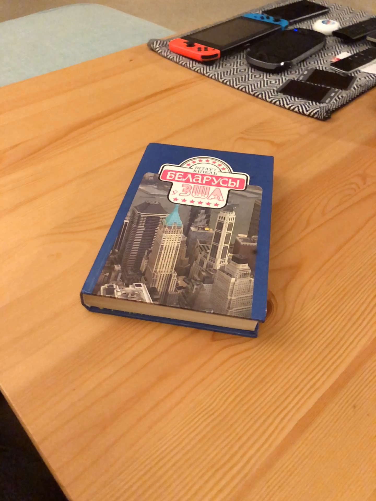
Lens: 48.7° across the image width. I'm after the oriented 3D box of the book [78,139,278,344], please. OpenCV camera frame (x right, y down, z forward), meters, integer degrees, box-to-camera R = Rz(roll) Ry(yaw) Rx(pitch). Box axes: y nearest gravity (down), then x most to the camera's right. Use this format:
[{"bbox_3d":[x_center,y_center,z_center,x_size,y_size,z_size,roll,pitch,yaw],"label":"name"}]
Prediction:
[{"bbox_3d":[0.007,-0.027,0.400,0.146,0.030,0.225,8,47,7],"label":"book"}]
